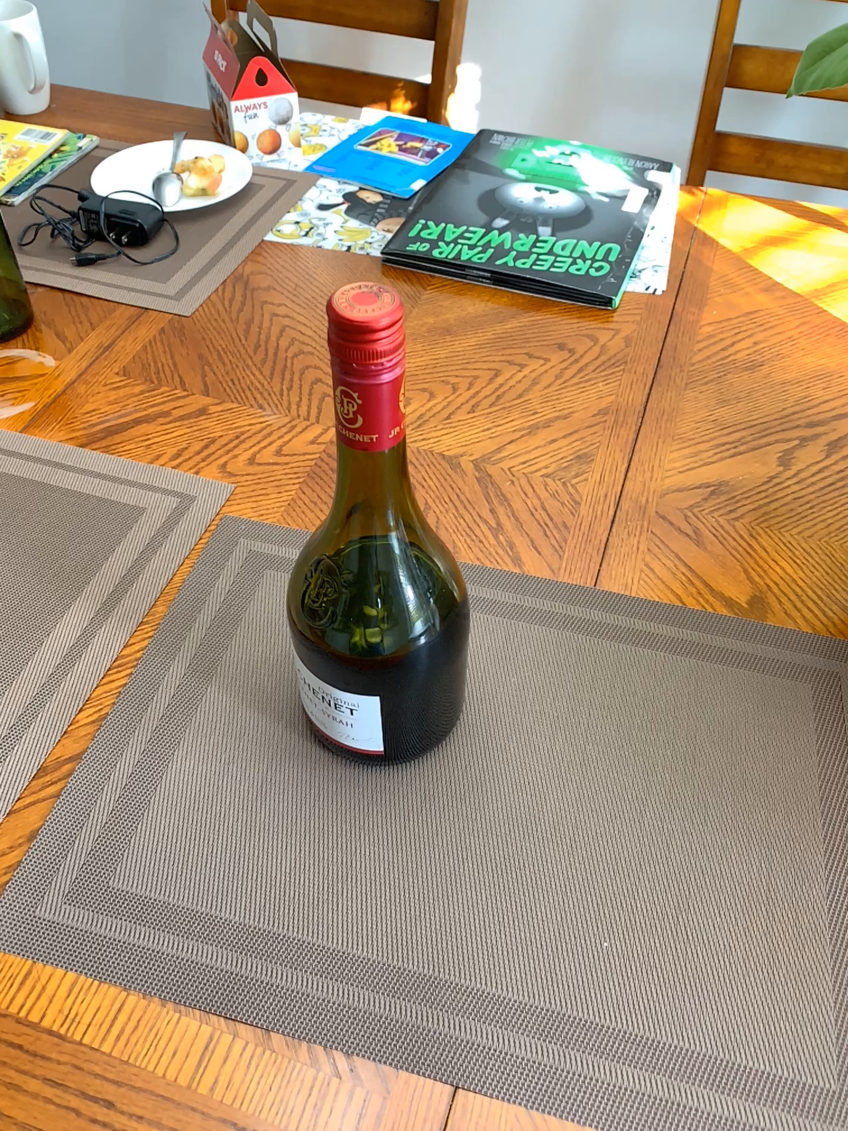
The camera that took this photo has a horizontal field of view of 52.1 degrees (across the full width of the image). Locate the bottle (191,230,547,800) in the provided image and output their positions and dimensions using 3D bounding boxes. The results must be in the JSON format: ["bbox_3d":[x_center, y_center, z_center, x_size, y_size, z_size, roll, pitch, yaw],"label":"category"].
[{"bbox_3d":[-0.025,-0.009,0.427,0.100,0.258,0.101,0,48,-1],"label":"bottle"}]
